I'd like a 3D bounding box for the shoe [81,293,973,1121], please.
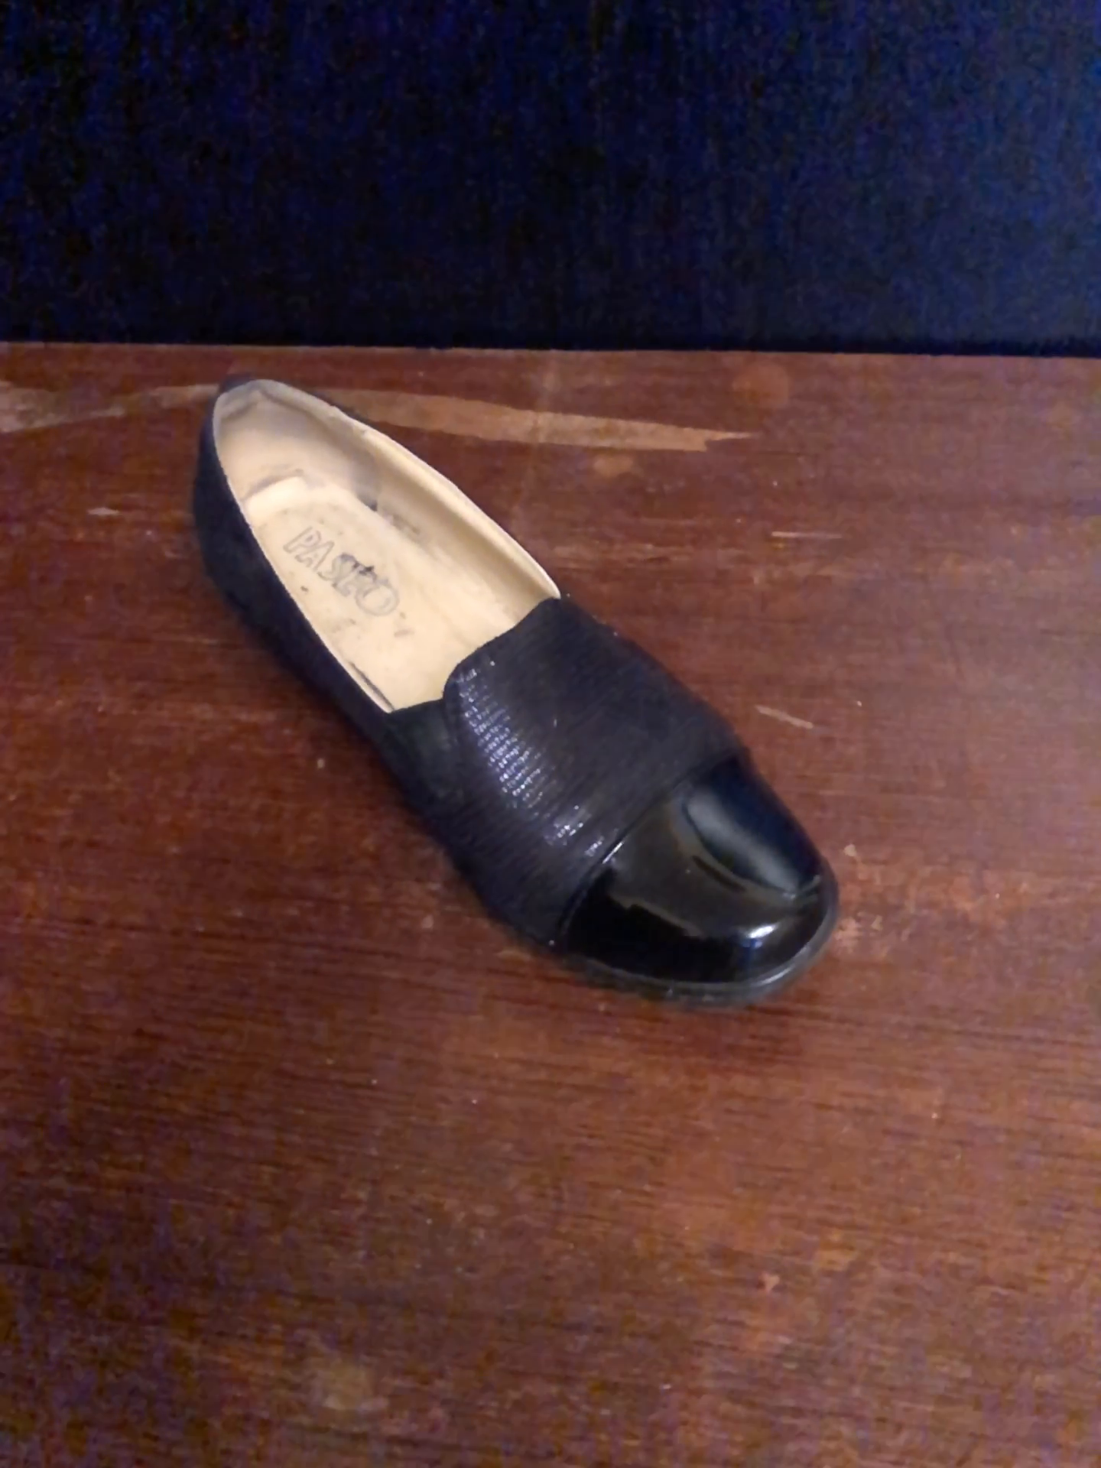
[{"bbox_3d":[-0.019,-0.023,0.335,0.090,0.070,0.237,-36,60,-23],"label":"shoe"}]
